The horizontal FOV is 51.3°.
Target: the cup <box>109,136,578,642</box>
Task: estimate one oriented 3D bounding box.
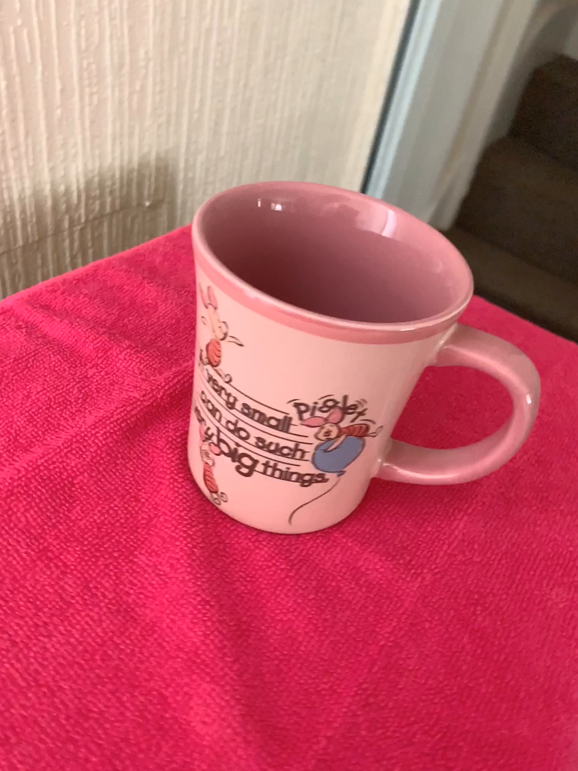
[{"bbox_3d":[0.017,-0.005,0.220,0.130,0.109,0.091,28,42,16],"label":"cup"}]
